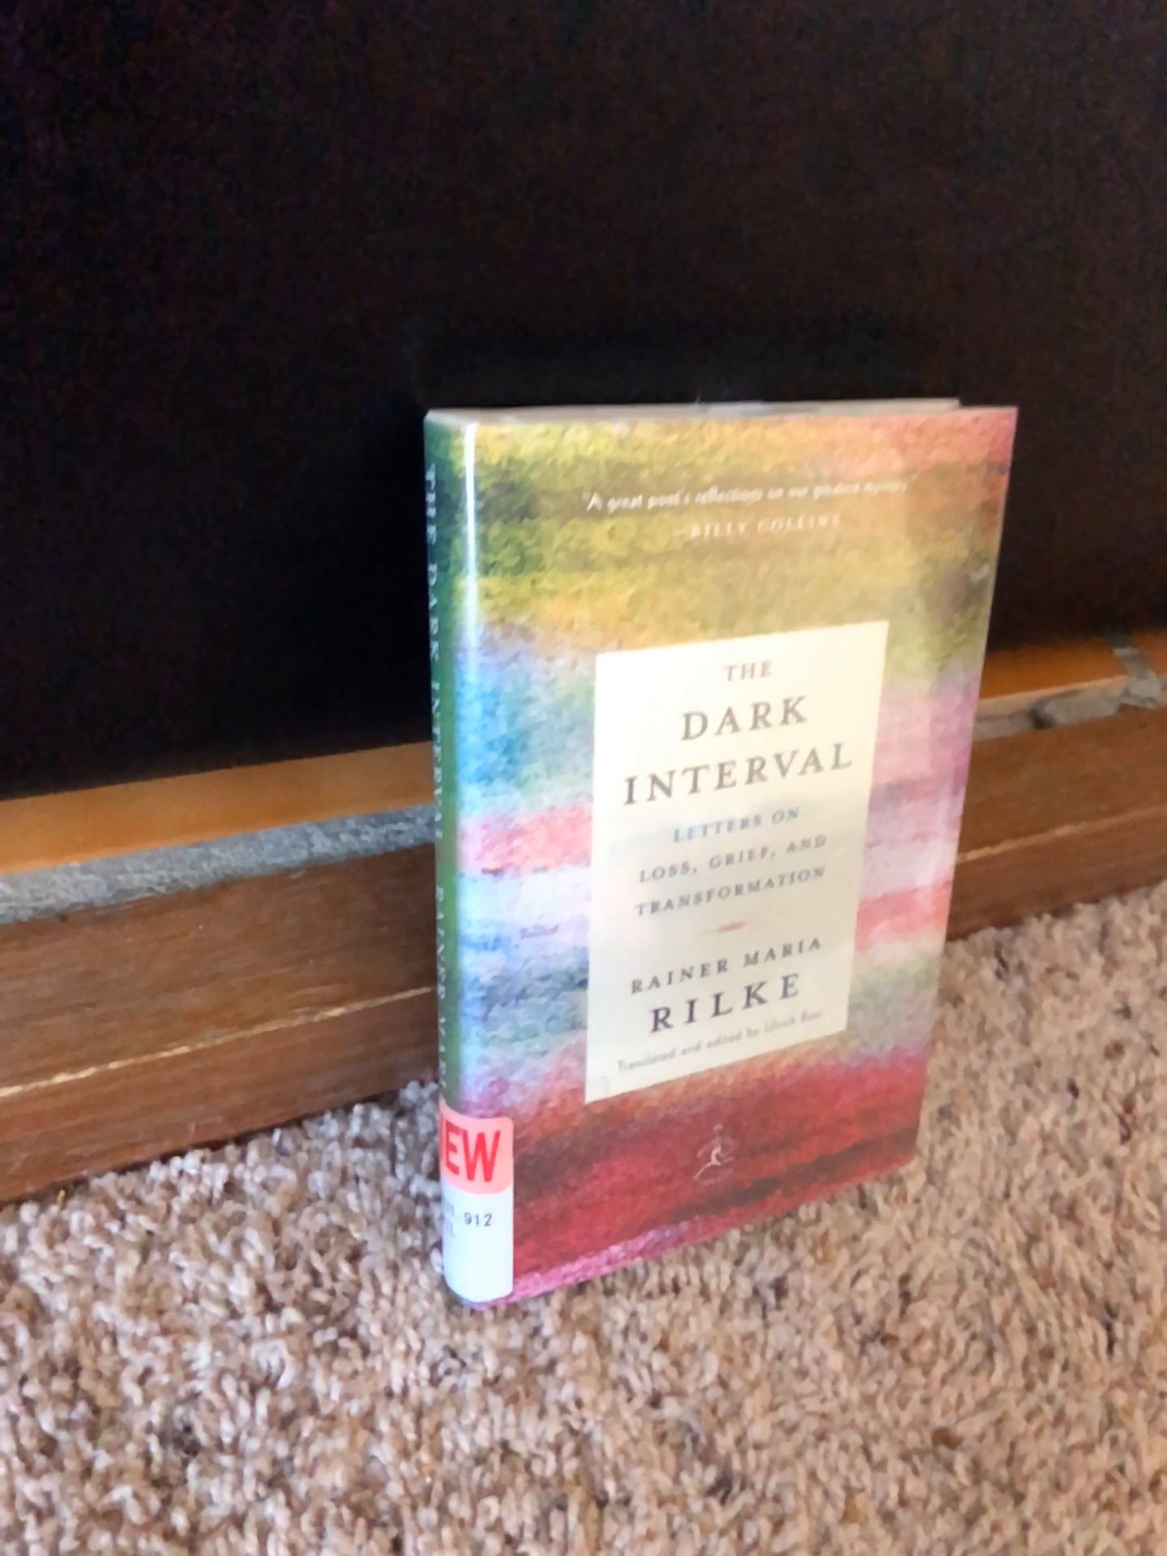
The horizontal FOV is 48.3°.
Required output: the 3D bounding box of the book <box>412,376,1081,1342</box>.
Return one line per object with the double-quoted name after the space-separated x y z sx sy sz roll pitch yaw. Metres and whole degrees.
0.033 0.014 0.281 0.136 0.190 0.030 -9 22 -28 "book"
